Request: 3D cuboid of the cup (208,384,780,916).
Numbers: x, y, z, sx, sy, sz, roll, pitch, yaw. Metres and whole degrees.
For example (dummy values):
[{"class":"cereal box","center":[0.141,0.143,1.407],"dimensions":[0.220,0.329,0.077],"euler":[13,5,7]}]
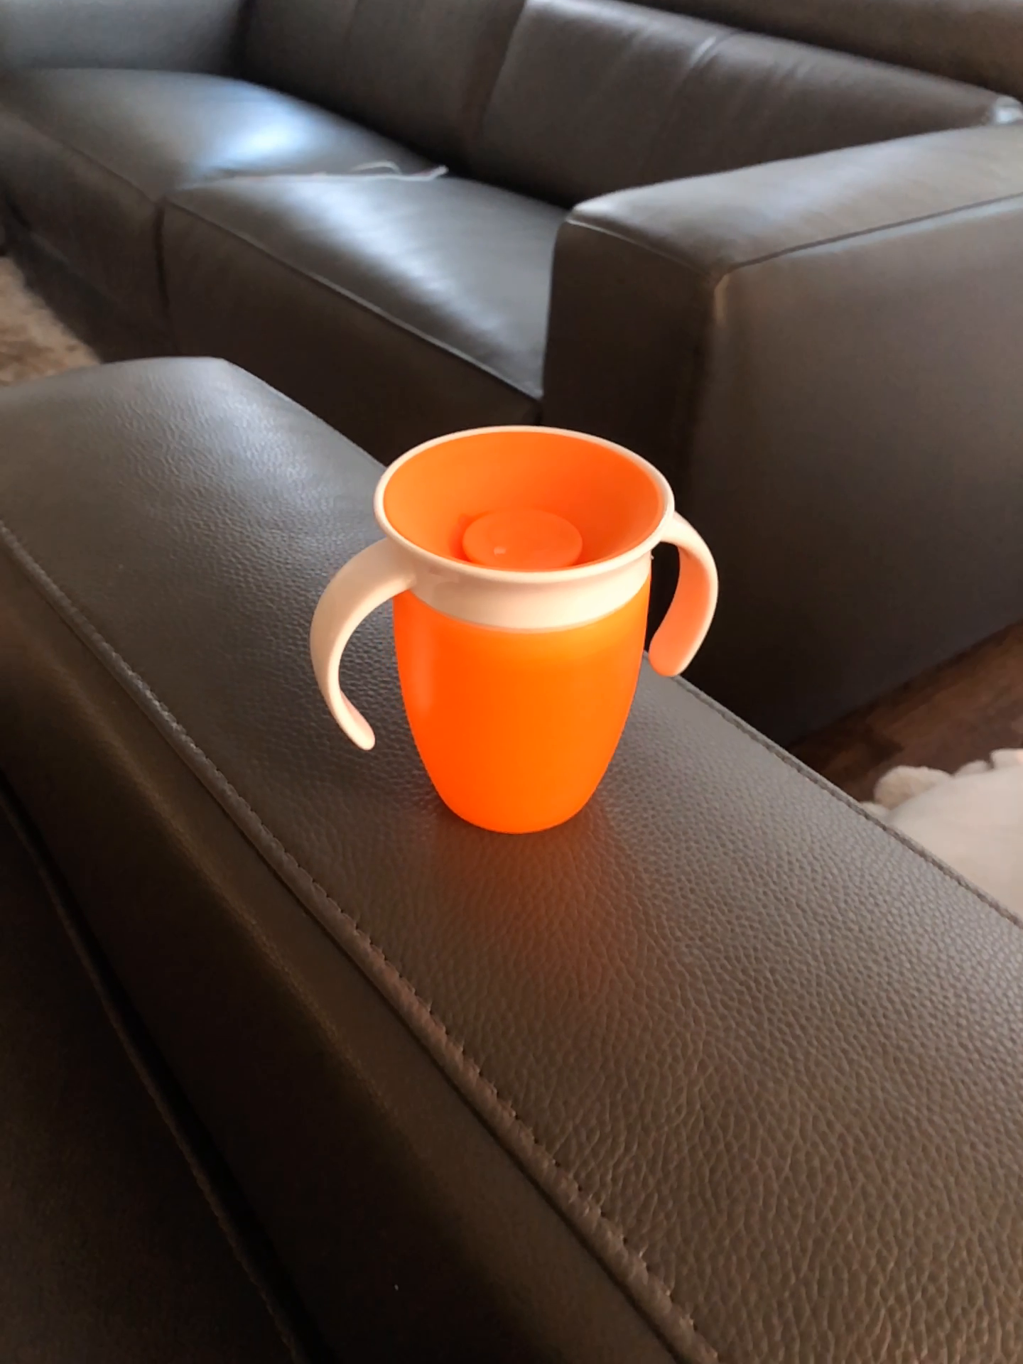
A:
[{"class":"cup","center":[-0.008,-0.015,0.327],"dimensions":[0.126,0.096,0.083],"euler":[-16,41,-22]}]
